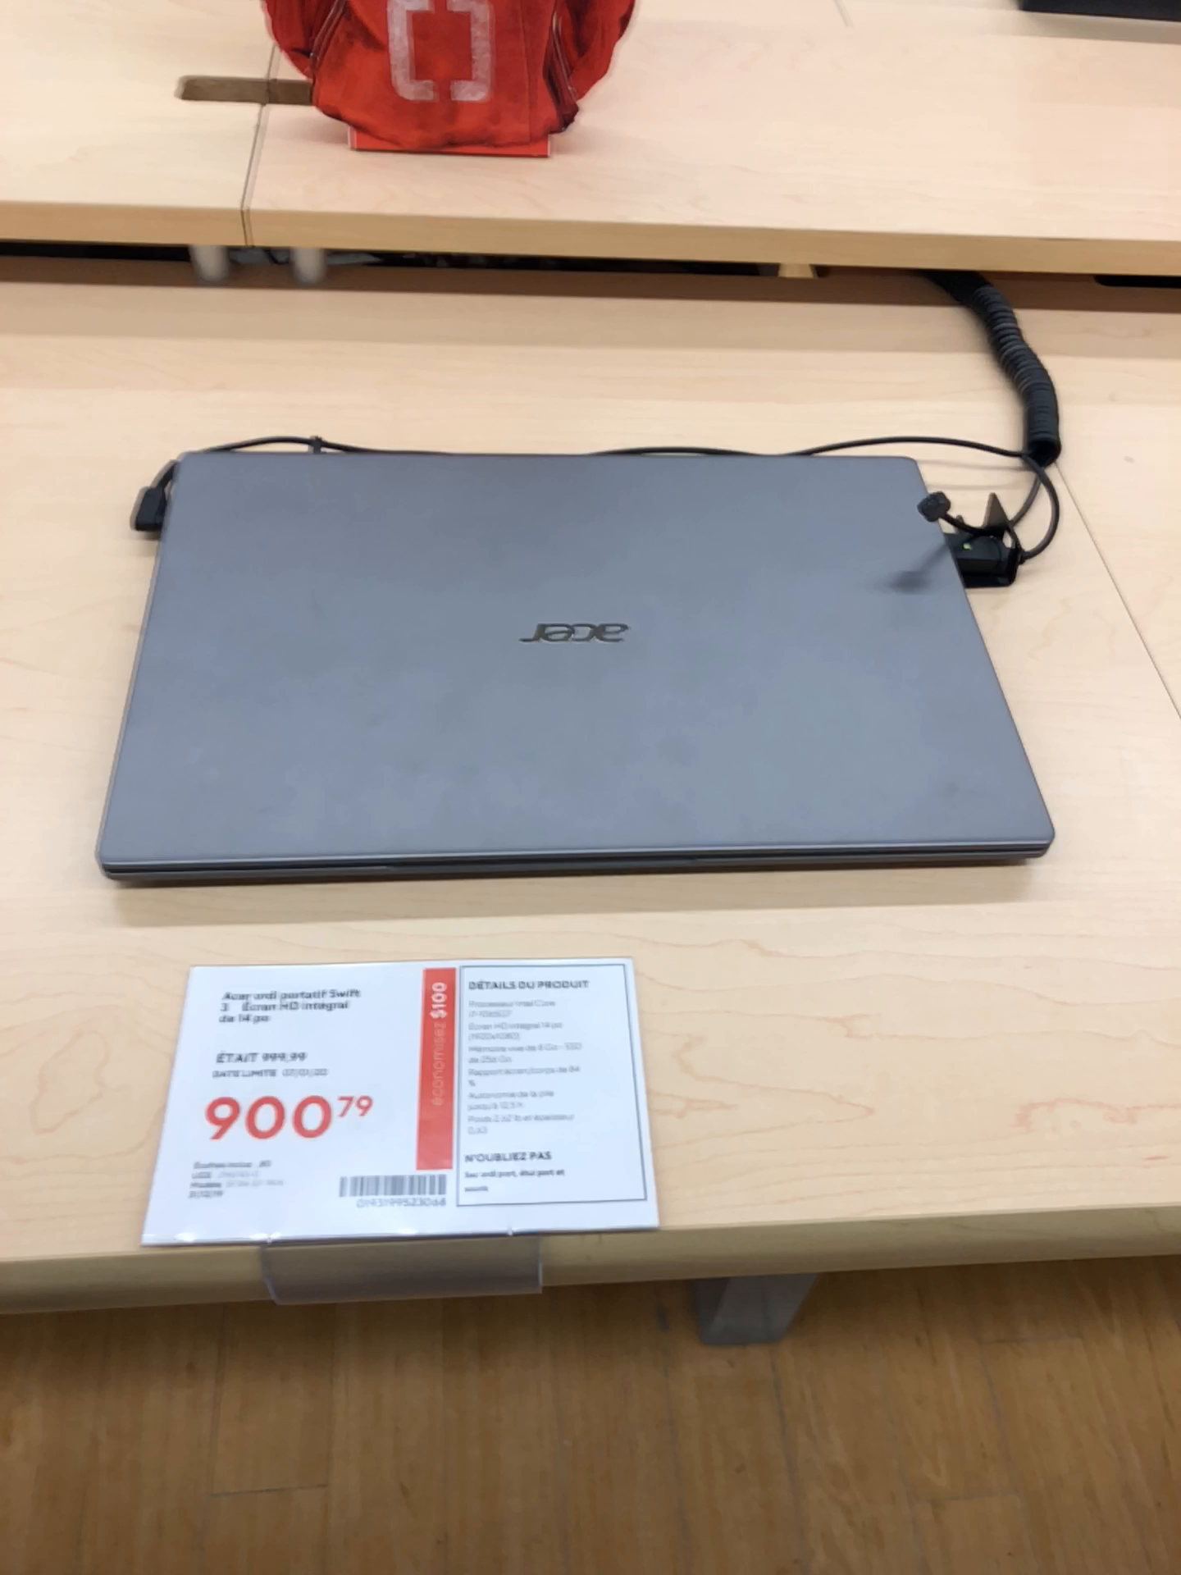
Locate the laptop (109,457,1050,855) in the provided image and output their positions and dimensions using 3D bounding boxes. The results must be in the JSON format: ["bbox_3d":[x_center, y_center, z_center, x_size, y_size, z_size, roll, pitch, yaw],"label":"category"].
[{"bbox_3d":[-0.006,-0.058,0.486,0.306,0.001,0.201,-1,51,-6],"label":"laptop"}]
